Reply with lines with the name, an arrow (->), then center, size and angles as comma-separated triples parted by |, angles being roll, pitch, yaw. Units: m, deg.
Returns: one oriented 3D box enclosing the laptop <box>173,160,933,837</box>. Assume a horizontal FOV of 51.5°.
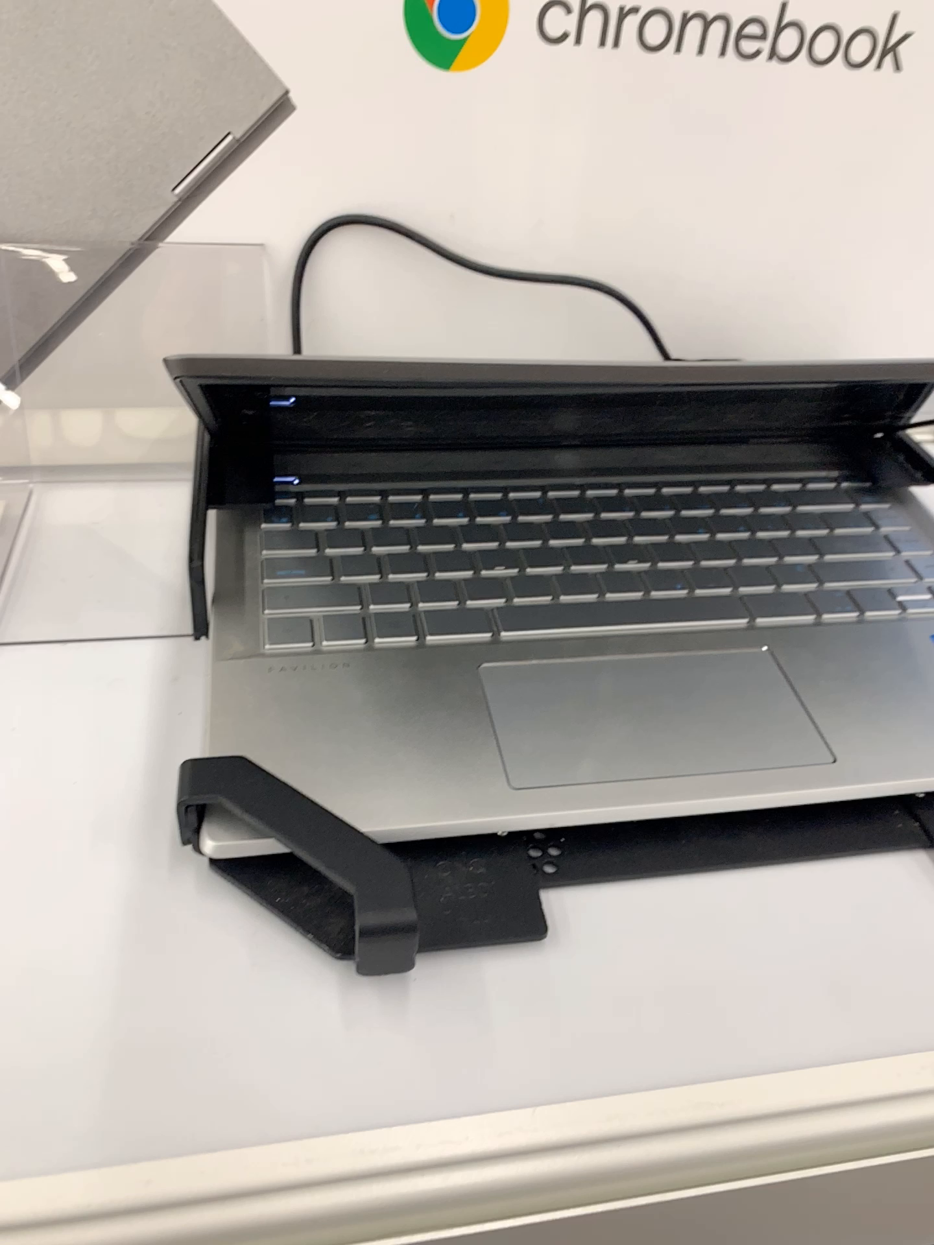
laptop -> 0.059, -0.057, 0.311 | 0.283, 0.111, 0.194 | -3, 41, -9
